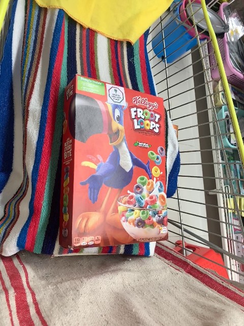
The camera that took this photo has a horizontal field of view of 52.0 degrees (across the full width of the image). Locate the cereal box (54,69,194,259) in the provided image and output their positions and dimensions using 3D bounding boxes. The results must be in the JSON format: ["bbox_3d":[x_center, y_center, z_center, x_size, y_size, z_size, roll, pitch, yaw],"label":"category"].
[{"bbox_3d":[0.009,0.006,0.401,0.211,0.060,0.250,6,77,-30],"label":"cereal box"}]
